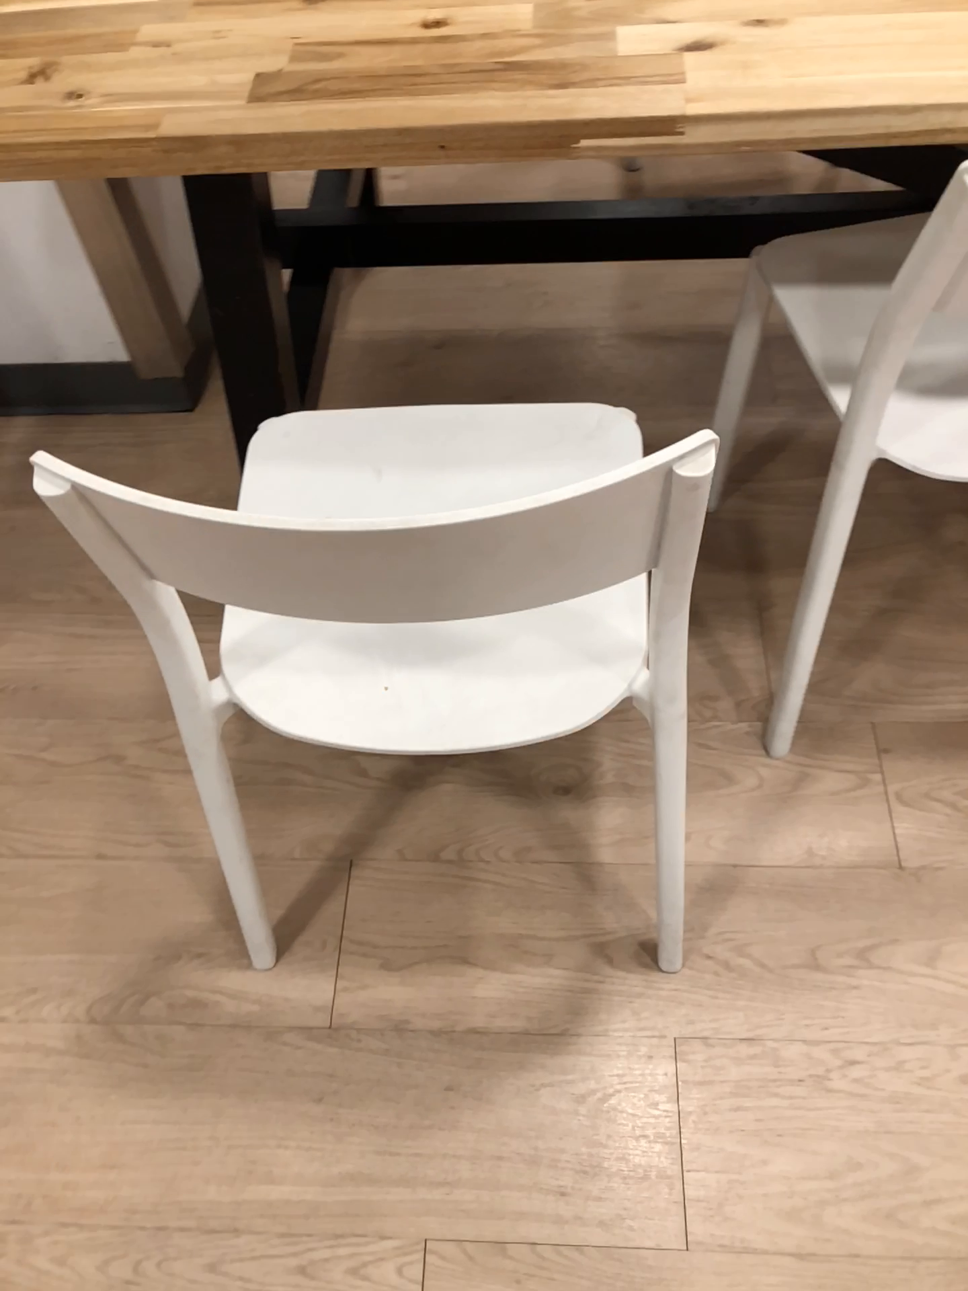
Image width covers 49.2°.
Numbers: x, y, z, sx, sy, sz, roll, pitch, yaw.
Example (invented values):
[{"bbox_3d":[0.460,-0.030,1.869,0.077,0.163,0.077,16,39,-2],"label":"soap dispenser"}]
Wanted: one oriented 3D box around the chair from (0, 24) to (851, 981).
[{"bbox_3d":[-0.042,-0.073,1.023,0.530,0.716,0.563,-1,54,4],"label":"chair"}]
